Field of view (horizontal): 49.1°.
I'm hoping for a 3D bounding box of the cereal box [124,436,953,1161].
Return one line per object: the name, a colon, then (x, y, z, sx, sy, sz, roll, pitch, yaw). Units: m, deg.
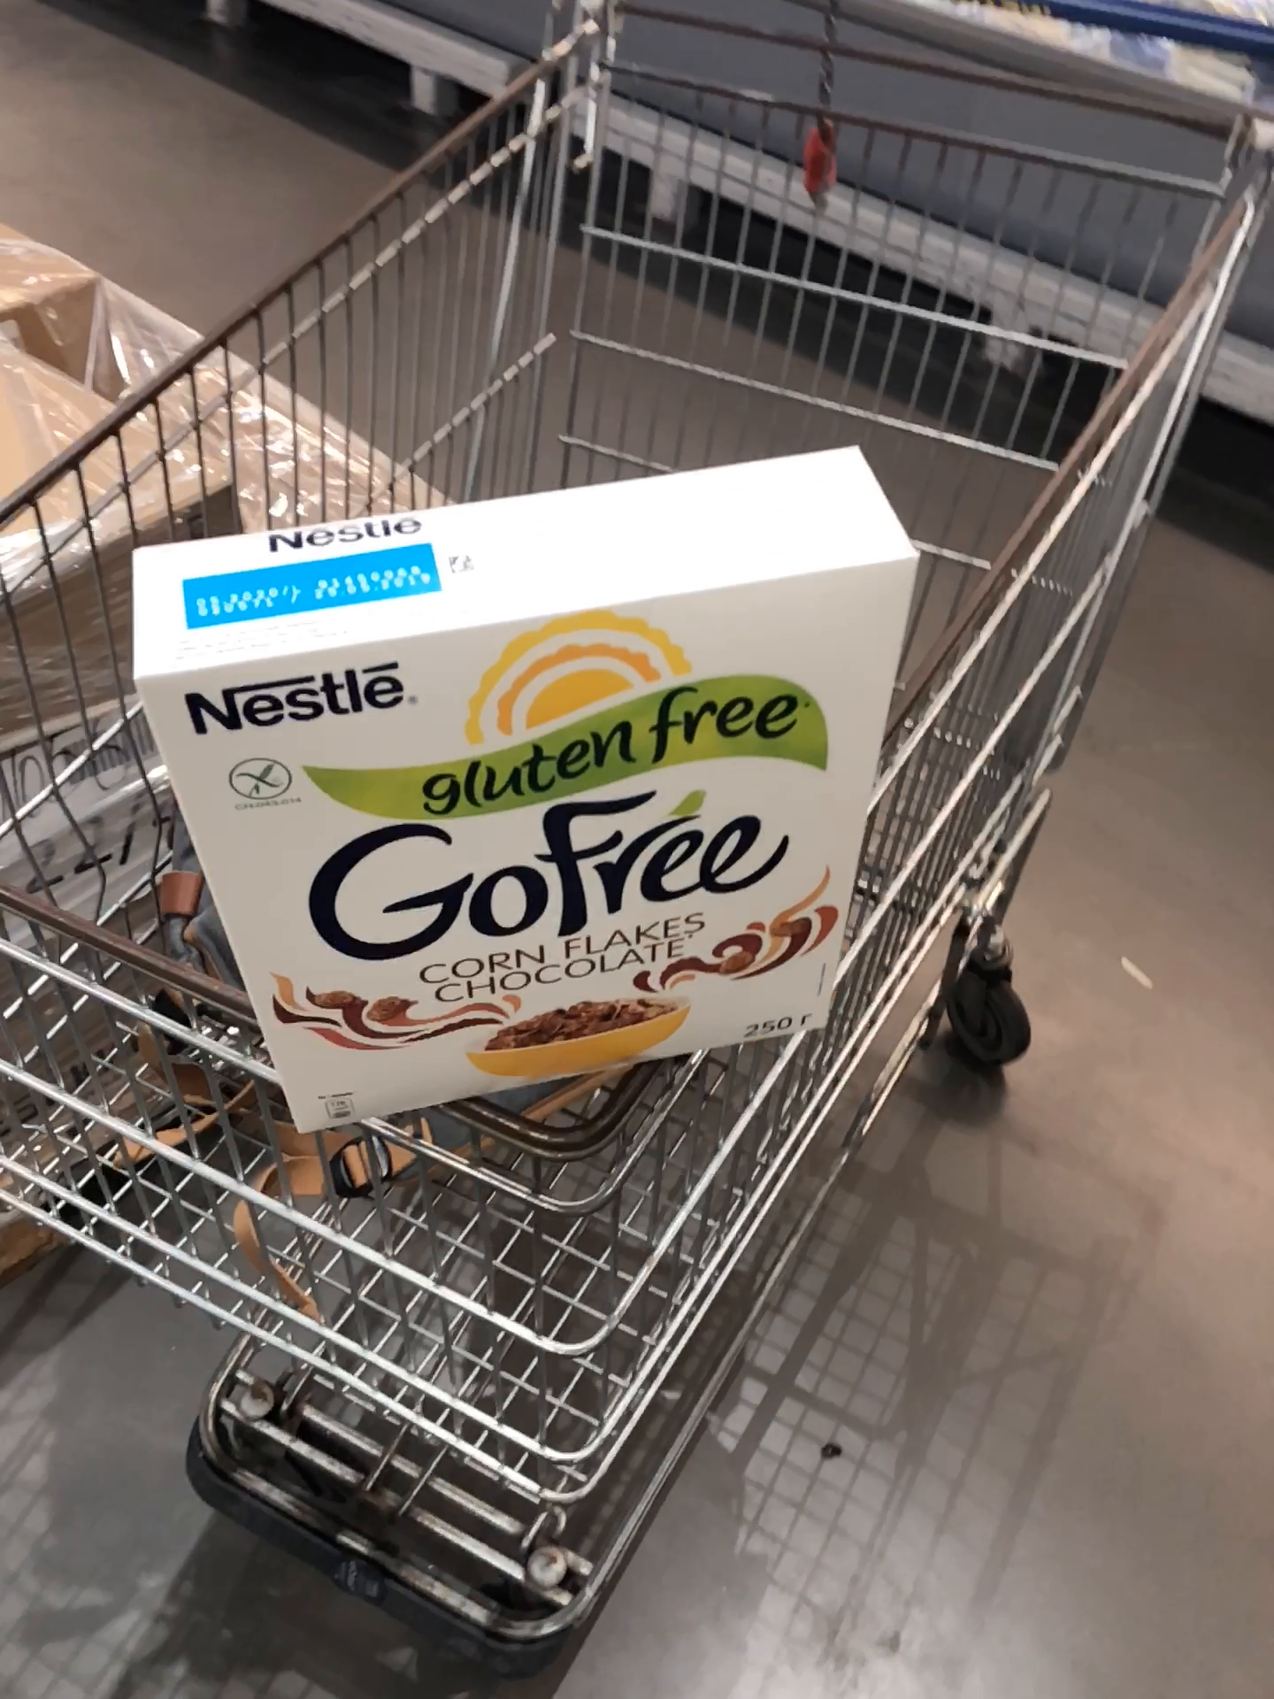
cereal box: (-0.026, -0.002, 0.433, 0.200, 0.228, 0.050, -10, 50, -9)
